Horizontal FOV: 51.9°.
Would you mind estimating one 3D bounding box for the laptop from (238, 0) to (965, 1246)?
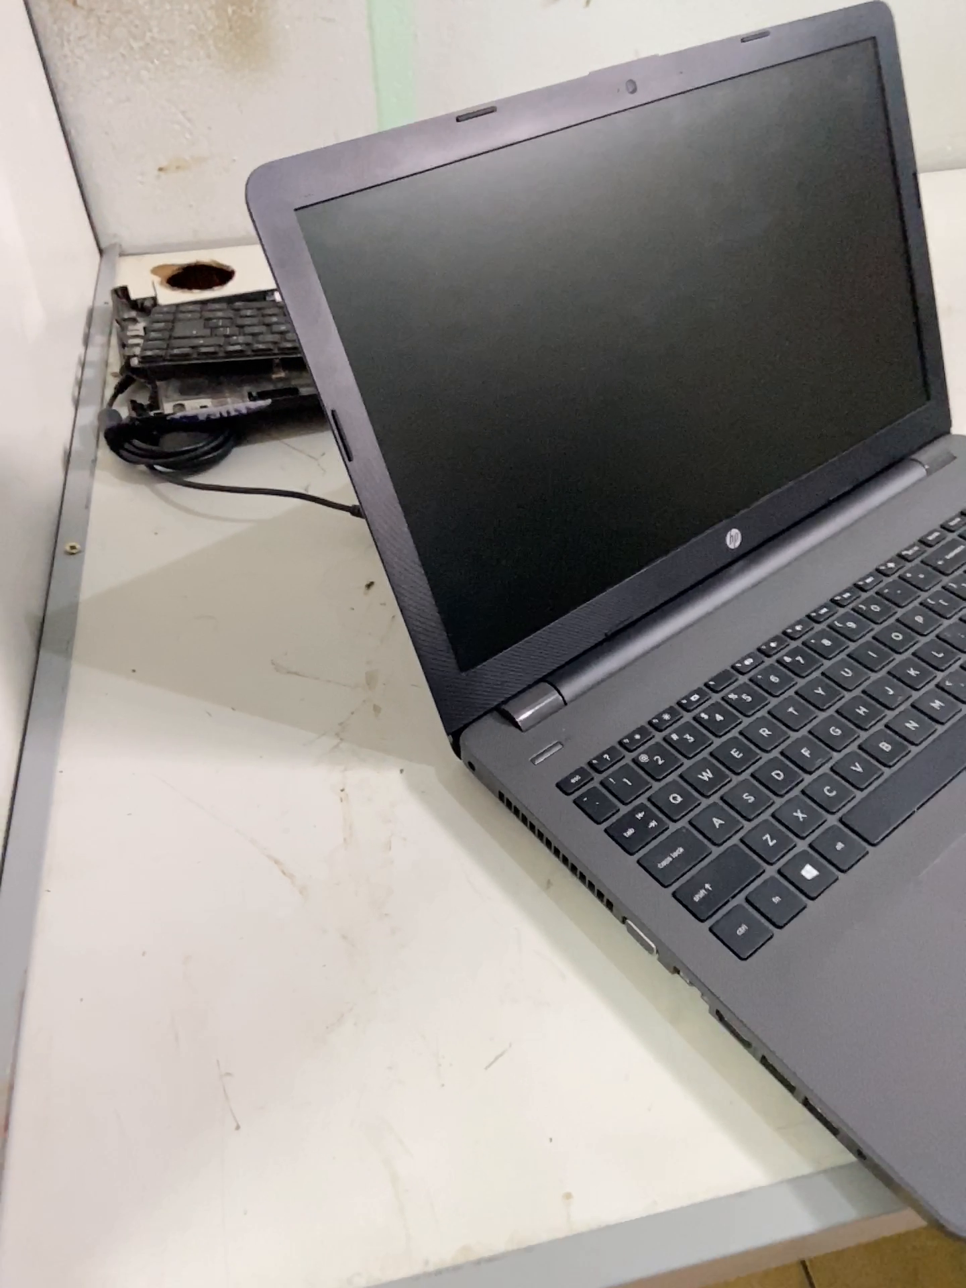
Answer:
[{"bbox_3d":[0.178,-0.081,0.407,0.381,0.206,0.365,-30,51,-26],"label":"laptop"}]
